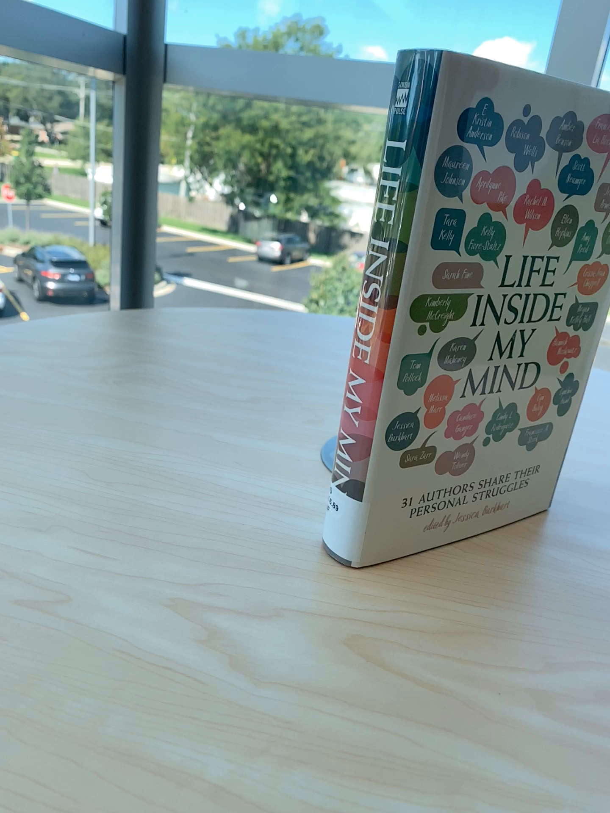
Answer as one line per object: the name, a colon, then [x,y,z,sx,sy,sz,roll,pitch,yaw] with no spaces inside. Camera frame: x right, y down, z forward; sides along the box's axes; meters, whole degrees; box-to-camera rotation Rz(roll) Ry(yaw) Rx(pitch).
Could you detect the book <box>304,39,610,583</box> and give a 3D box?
book: [0.085,-0.033,0.298,0.150,0.218,0.030,-7,28,-34]
